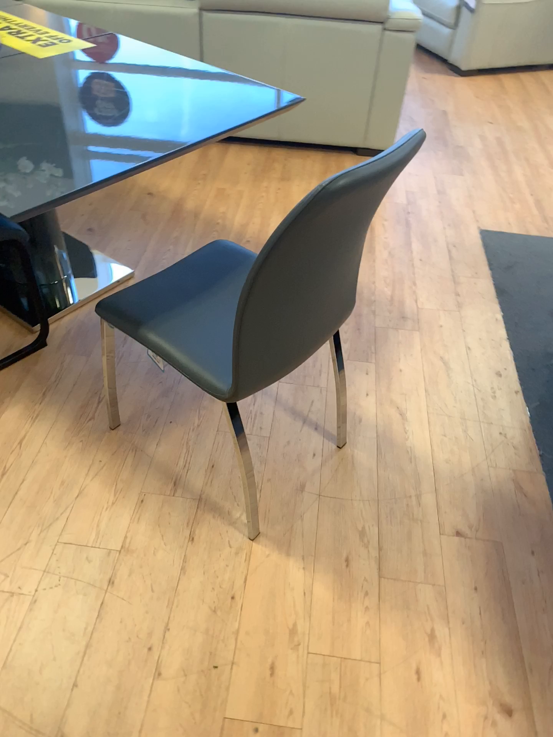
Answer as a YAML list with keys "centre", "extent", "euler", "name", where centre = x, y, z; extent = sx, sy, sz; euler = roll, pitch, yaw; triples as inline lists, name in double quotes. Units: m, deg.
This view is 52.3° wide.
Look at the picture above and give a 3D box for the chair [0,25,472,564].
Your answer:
- centre: [-0.090, -0.156, 1.281]
  extent: [0.632, 0.911, 0.513]
  euler: [32, 51, 26]
  name: "chair"
